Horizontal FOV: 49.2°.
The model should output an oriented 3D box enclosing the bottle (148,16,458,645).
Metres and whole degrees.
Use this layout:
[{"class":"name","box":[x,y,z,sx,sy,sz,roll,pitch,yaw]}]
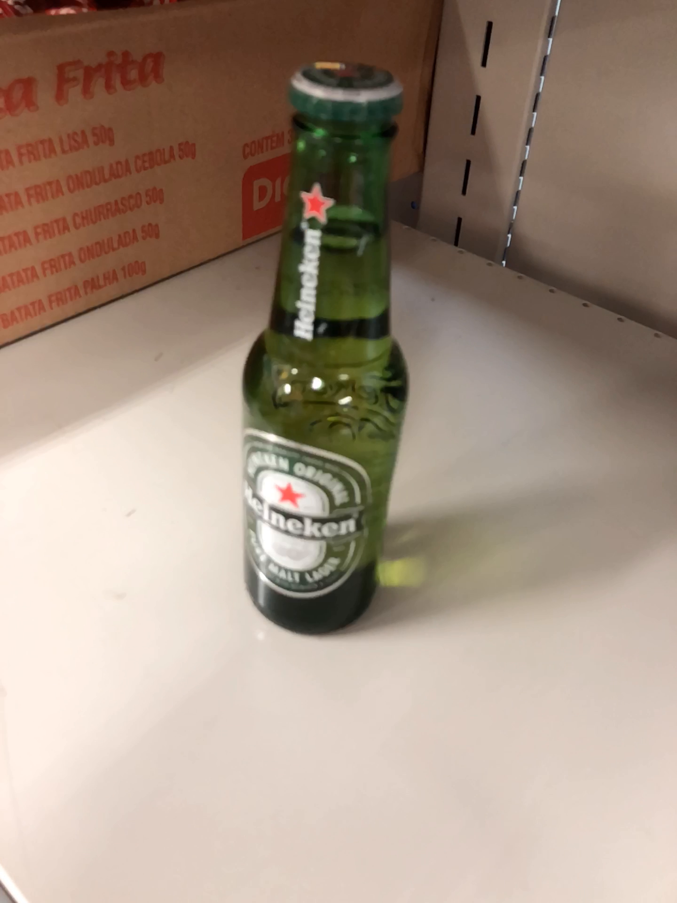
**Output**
[{"class":"bottle","box":[-0.008,-0.022,0.245,0.060,0.199,0.060,1,43,-1]}]
